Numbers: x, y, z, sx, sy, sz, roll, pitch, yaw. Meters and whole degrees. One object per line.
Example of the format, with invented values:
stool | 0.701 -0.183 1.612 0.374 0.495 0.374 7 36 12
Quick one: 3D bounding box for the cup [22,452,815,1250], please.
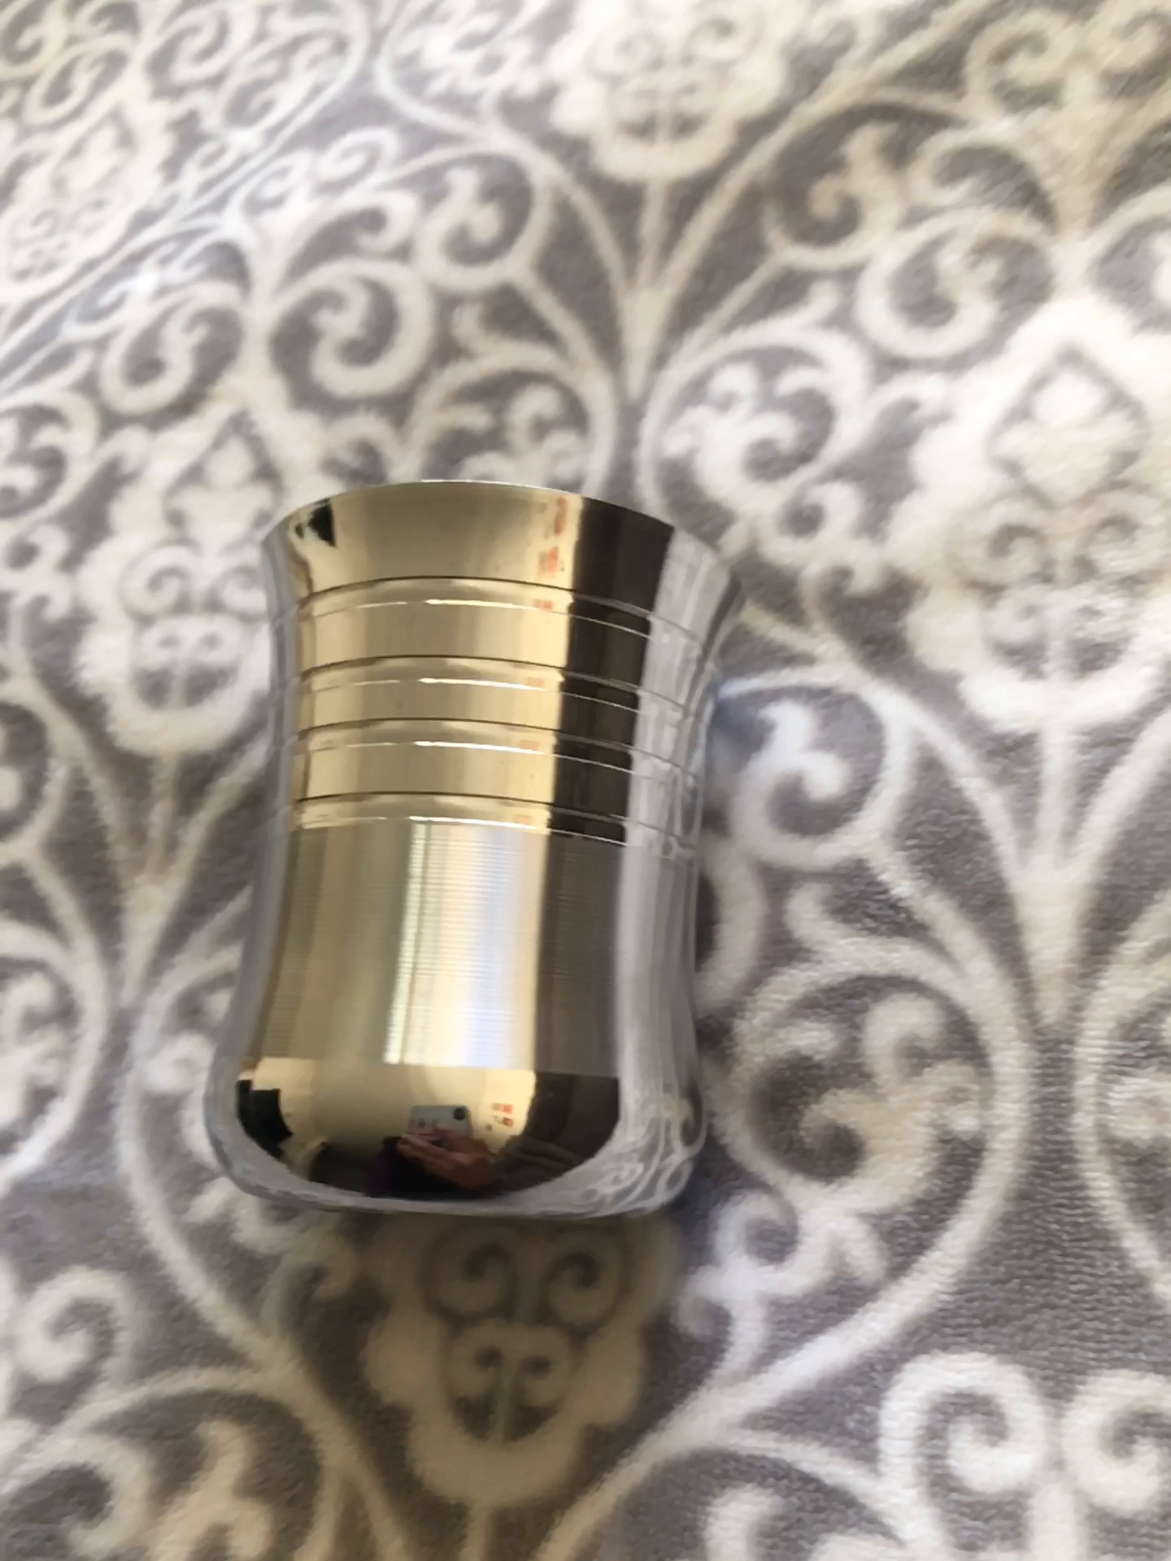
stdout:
cup | -0.013 0.014 0.183 0.077 0.066 0.086 -1 69 18
